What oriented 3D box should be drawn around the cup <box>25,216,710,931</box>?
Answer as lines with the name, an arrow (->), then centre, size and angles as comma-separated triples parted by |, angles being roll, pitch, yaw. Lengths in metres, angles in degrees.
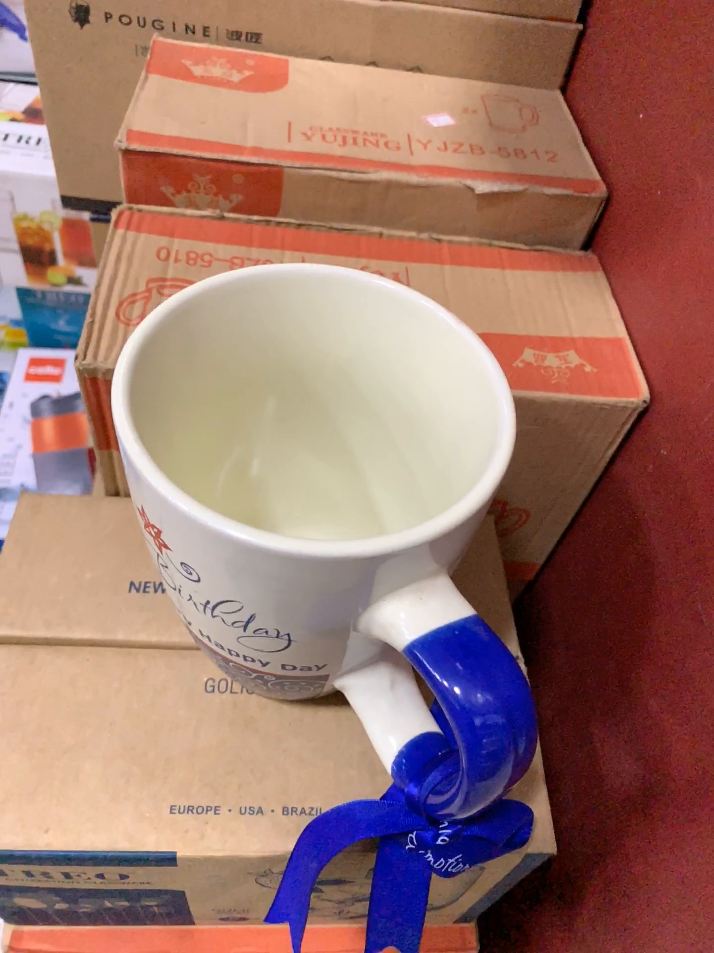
cup -> -0.010, 0.016, 0.190 | 0.092, 0.086, 0.132 | -20, 57, -23
